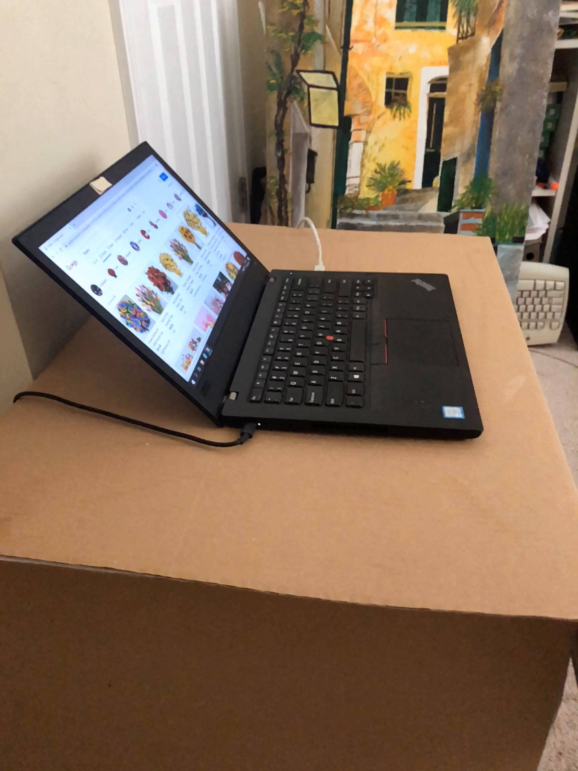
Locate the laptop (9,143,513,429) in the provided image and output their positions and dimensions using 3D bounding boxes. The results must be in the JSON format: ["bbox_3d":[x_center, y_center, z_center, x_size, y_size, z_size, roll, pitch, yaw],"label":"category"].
[{"bbox_3d":[-0.006,-0.125,0.633,0.364,0.158,0.324,2,33,6],"label":"laptop"}]
